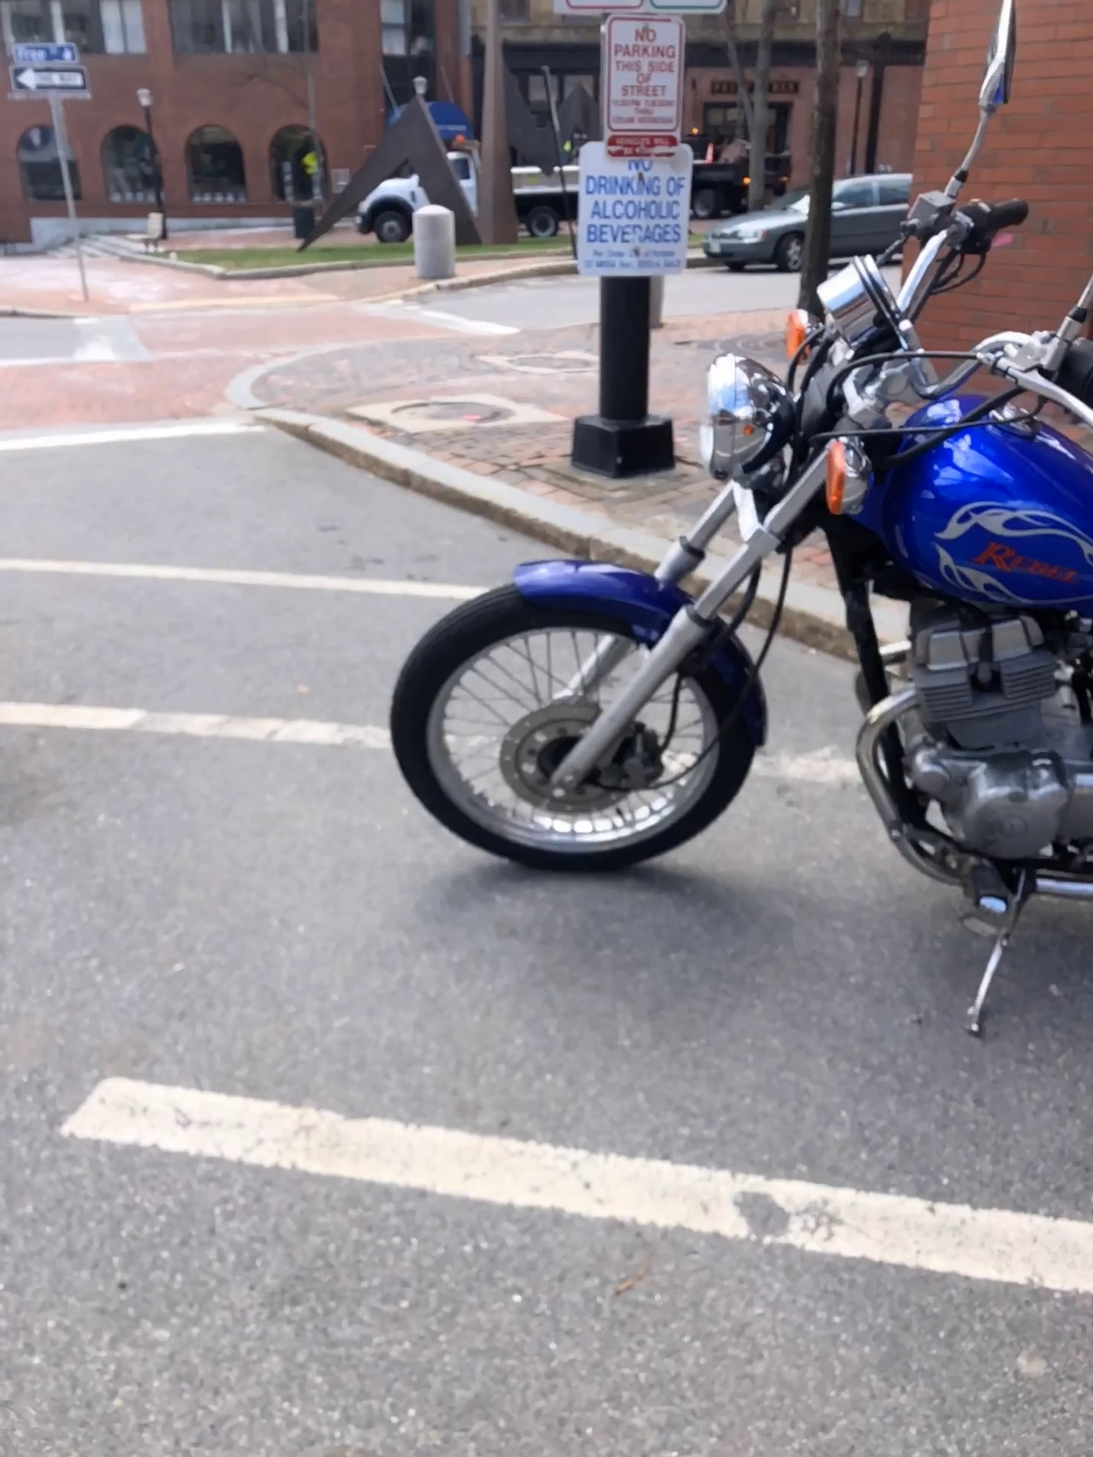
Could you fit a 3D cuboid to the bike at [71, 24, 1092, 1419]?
[{"bbox_3d":[0.764,-0.073,1.508,2.024,1.179,0.930,5,25,3],"label":"bike"}]
